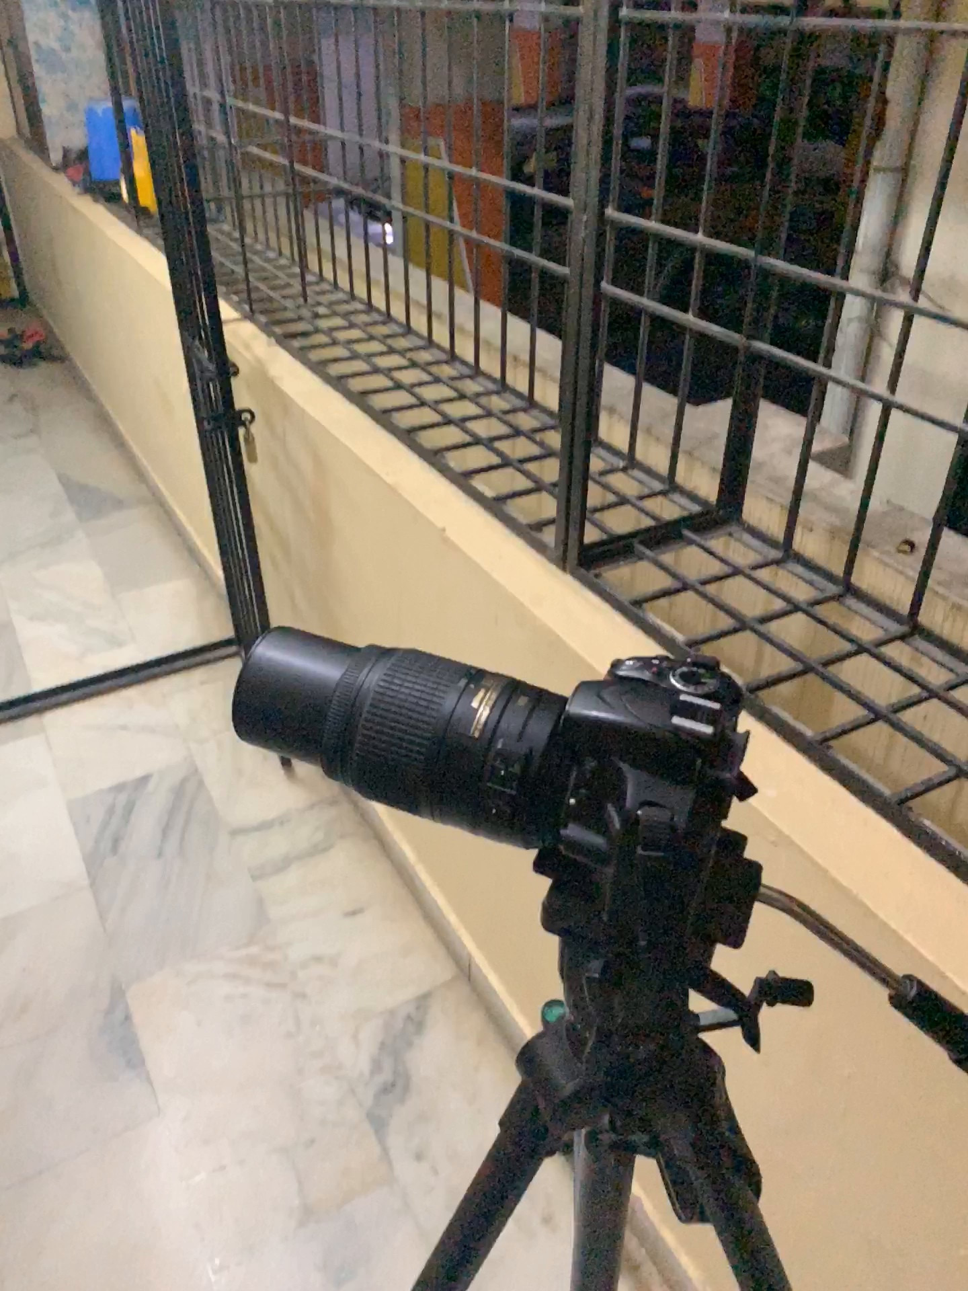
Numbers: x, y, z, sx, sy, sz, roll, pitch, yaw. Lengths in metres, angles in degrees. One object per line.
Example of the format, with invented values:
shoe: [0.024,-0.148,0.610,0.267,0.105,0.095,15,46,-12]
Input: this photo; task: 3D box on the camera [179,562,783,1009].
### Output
camera: [0.002,0.050,0.447,0.230,0.090,0.120,13,36,19]
